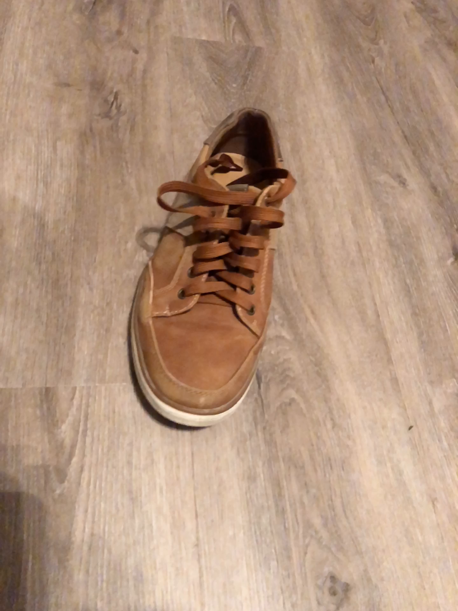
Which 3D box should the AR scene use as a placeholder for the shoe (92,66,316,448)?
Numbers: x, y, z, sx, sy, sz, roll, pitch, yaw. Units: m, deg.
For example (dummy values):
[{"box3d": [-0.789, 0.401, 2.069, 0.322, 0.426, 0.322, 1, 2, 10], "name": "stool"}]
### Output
[{"box3d": [-0.010, -0.050, 0.404, 0.110, 0.100, 0.281, 13, 57, -4], "name": "shoe"}]
